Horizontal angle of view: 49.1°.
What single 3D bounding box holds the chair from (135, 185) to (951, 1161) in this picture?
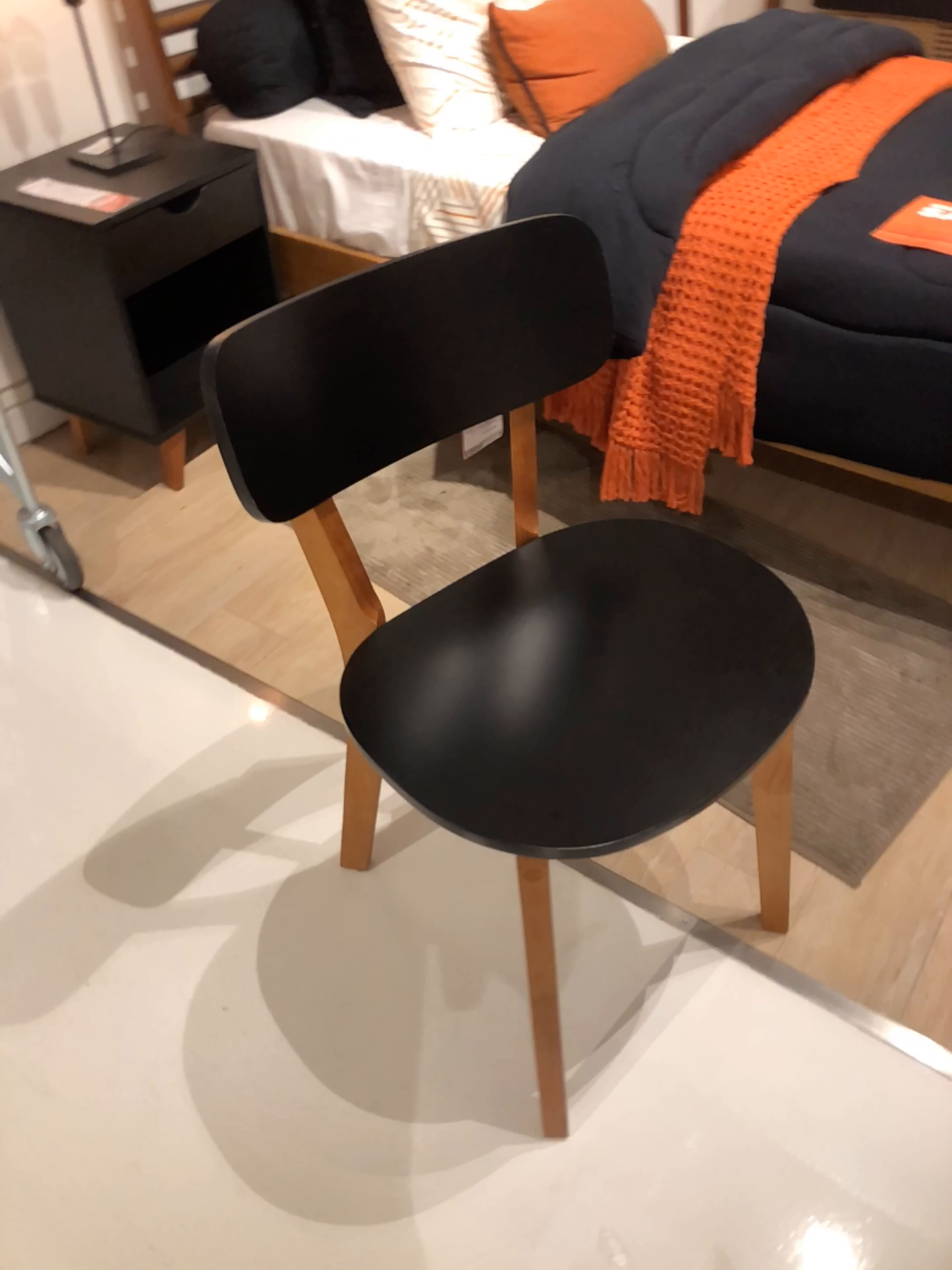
[{"bbox_3d":[0.074,0.032,1.041,0.462,0.705,0.482,-32,49,-28],"label":"chair"}]
